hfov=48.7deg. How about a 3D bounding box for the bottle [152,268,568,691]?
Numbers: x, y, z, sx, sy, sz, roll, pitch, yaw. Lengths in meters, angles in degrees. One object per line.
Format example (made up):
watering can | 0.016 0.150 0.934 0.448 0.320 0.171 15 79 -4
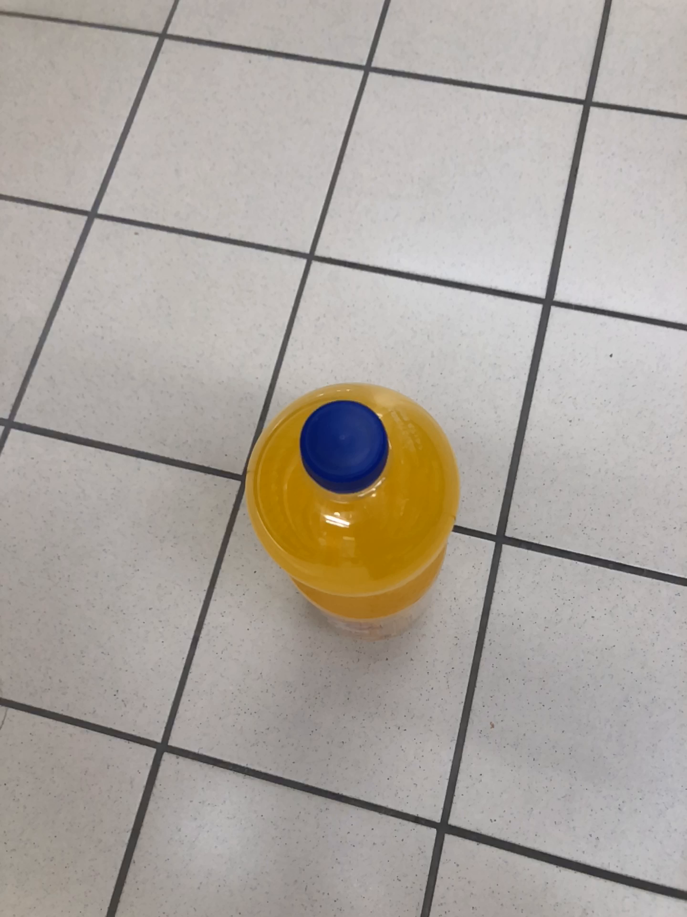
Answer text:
bottle | 0.013 0.045 0.402 0.100 0.300 0.110 -31 73 -6
